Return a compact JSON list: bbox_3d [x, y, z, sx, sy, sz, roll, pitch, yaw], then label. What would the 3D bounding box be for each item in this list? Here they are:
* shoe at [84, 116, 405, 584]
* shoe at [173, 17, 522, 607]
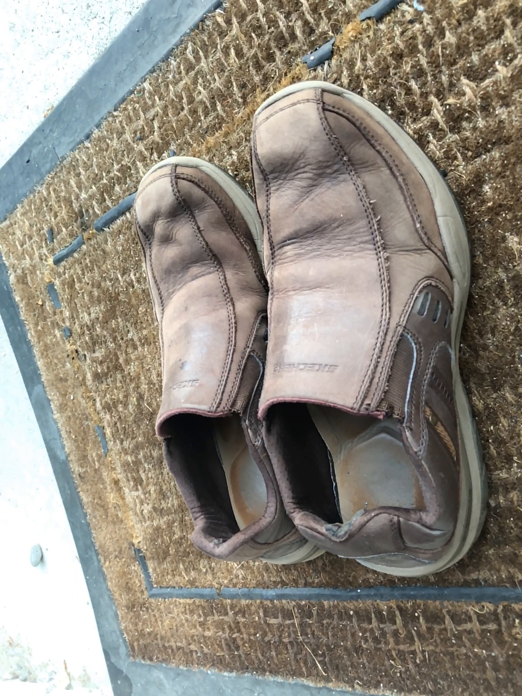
[{"bbox_3d":[-0.009,0.003,0.383,0.101,0.099,0.267,-17,91,39],"label":"shoe"},{"bbox_3d":[0.055,-0.013,0.310,0.101,0.099,0.254,-12,94,39],"label":"shoe"}]
